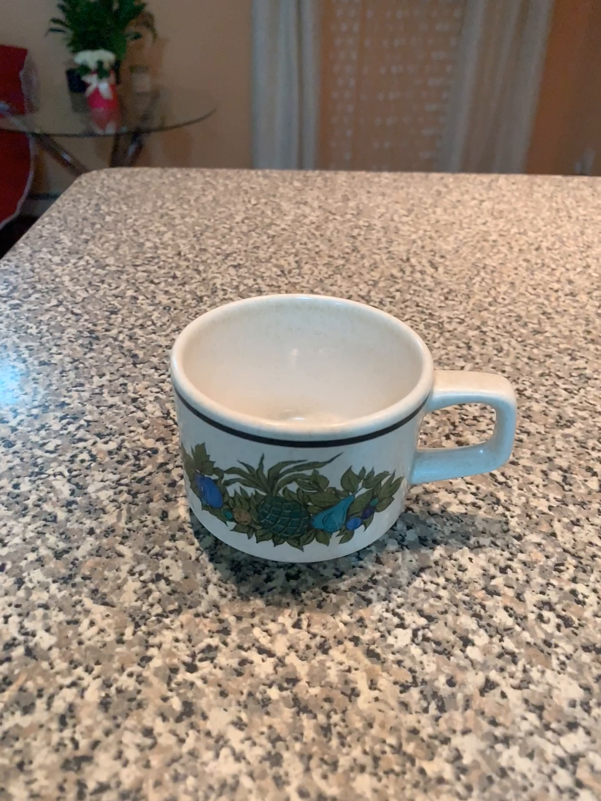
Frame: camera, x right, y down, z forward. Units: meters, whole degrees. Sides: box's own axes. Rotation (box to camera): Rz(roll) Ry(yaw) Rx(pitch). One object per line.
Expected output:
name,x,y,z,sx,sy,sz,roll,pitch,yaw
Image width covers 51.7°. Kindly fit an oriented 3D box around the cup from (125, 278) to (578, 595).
cup,0.015,0.006,0.211,0.117,0.054,0.088,5,35,4
